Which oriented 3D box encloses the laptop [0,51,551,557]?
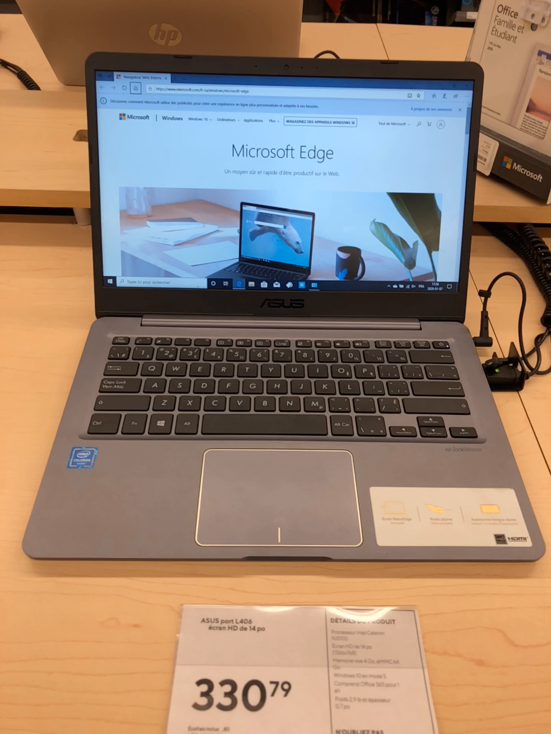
[{"bbox_3d":[0.008,-0.065,0.425,0.309,0.173,0.328,1,46,-1],"label":"laptop"}]
